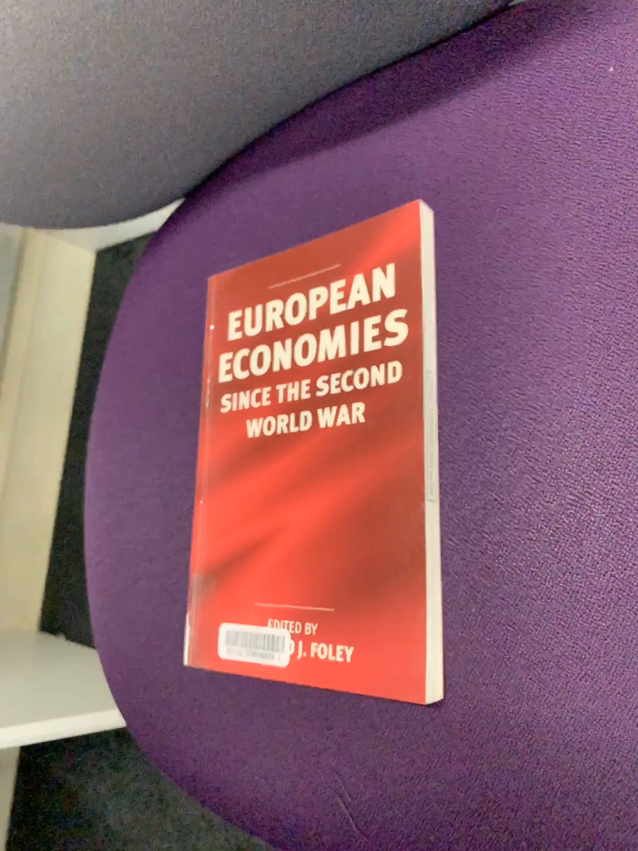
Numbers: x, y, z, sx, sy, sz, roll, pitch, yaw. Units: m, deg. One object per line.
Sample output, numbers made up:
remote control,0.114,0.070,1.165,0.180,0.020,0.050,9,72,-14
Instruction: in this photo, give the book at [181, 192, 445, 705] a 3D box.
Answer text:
book,-0.008,0.011,0.341,0.149,0.020,0.225,-9,74,39
